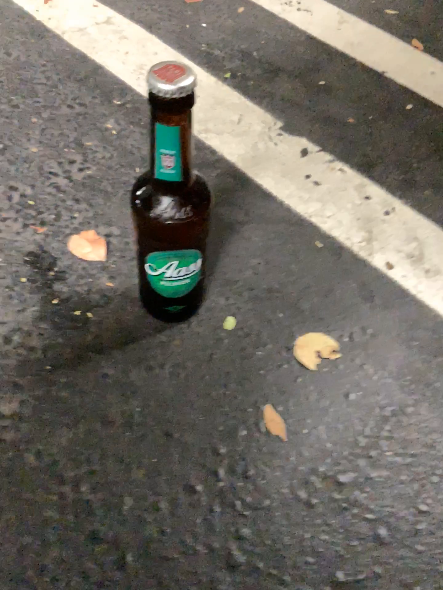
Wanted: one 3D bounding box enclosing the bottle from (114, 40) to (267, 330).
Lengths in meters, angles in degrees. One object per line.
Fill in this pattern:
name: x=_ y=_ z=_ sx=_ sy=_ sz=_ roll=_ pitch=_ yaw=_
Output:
bottle: x=-0.030 y=-0.061 z=0.356 sx=0.070 sy=0.210 sz=0.070 roll=4 pitch=57 yaw=-5
